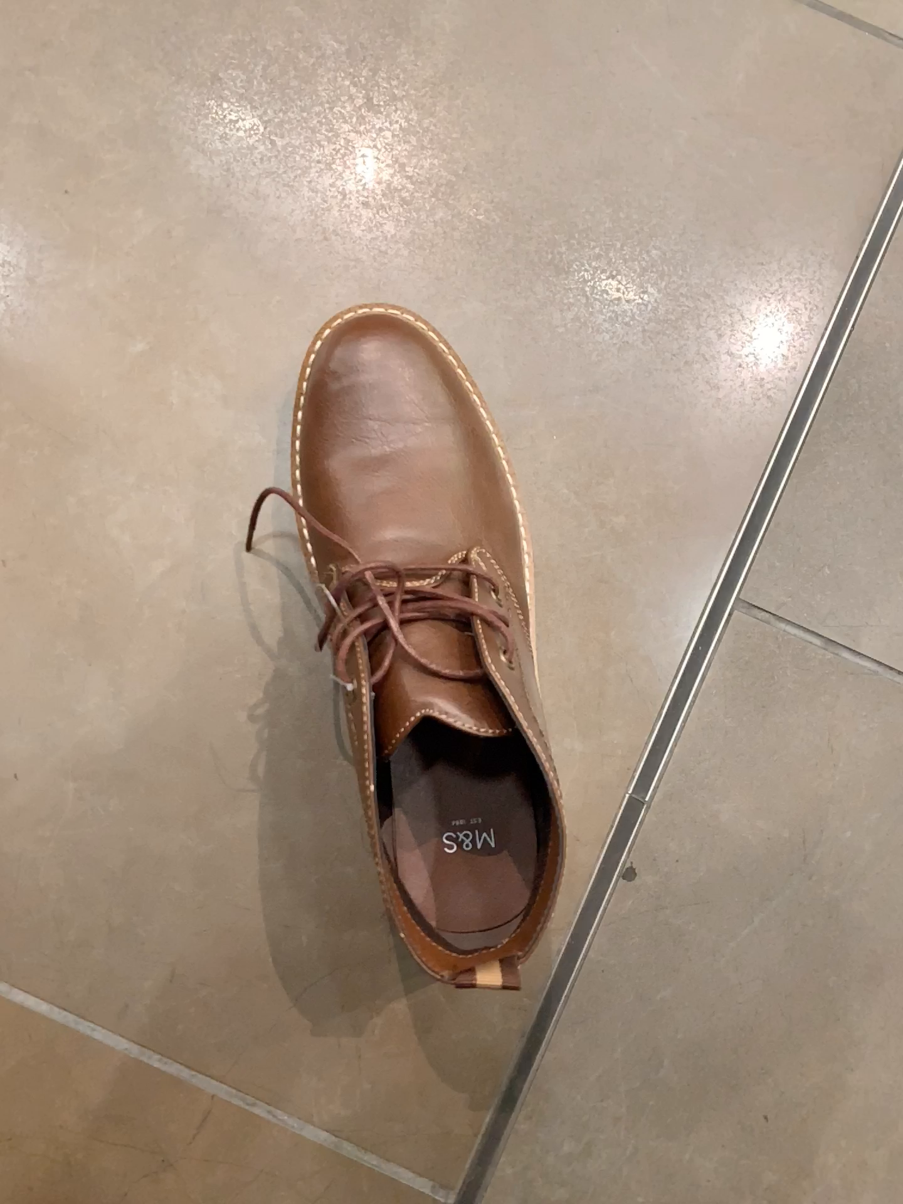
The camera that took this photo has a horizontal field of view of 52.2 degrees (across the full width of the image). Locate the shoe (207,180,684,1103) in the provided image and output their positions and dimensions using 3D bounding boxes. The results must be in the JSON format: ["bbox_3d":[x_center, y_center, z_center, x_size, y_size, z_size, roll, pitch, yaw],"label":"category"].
[{"bbox_3d":[-0.006,0.011,0.369,0.106,0.120,0.295,-11,85,-2],"label":"shoe"}]
